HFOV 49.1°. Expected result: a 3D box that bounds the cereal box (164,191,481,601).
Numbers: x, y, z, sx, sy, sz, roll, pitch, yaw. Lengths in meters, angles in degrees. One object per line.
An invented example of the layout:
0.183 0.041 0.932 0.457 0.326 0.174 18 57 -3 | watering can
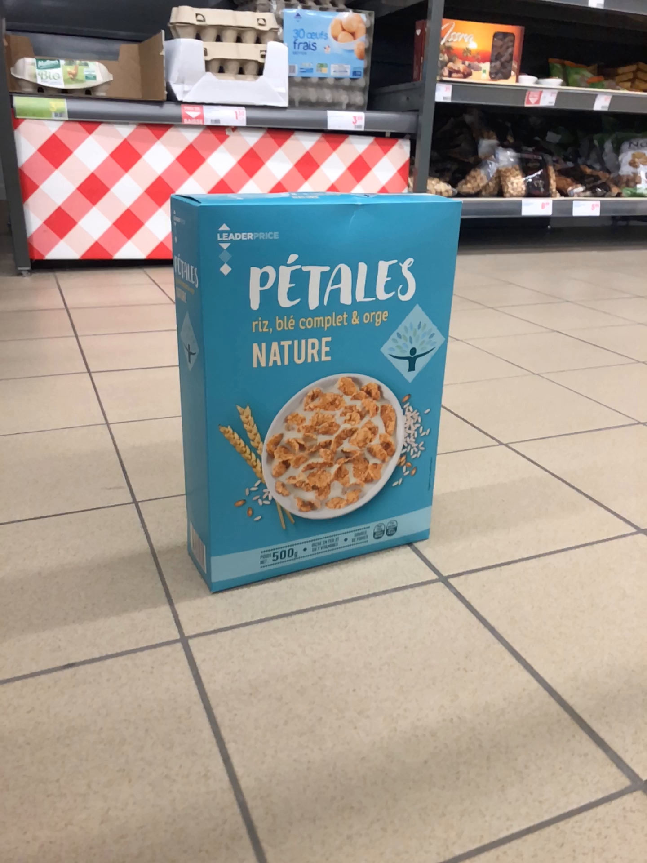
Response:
-0.002 -0.032 0.519 0.201 0.269 0.070 -8 23 -24 | cereal box
